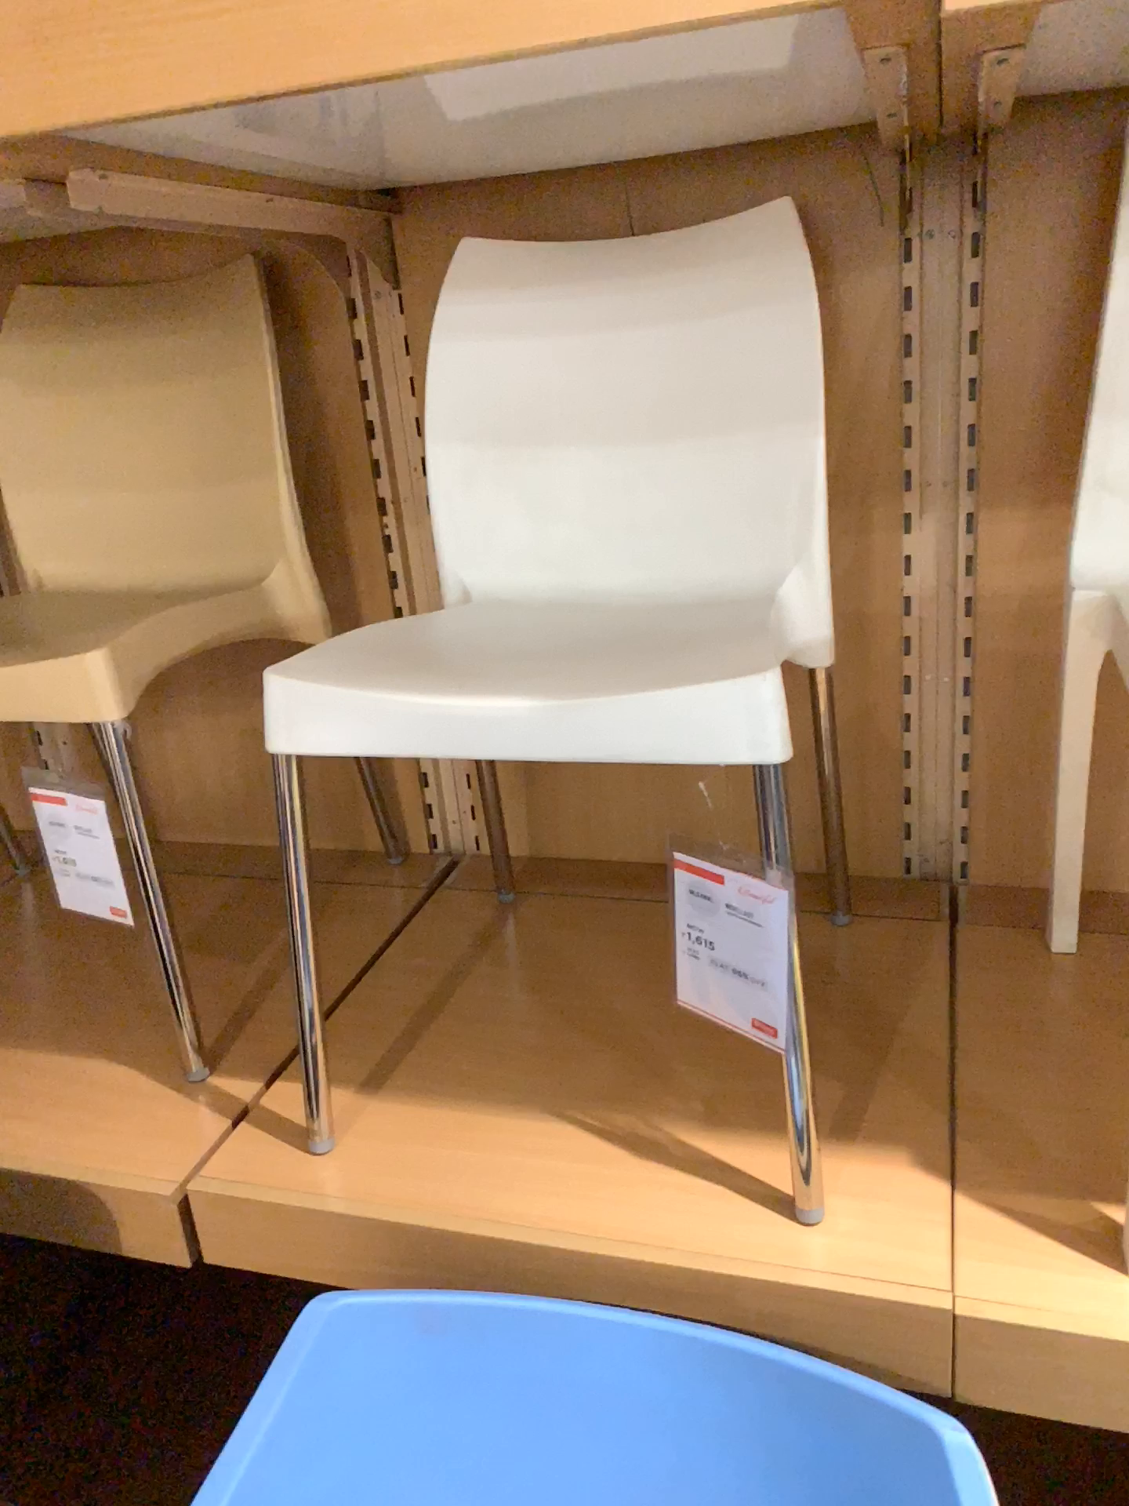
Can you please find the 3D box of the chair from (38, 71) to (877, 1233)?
[{"bbox_3d":[0.017,-0.126,1.269,0.610,0.917,0.682,1,21,17],"label":"chair"}]
